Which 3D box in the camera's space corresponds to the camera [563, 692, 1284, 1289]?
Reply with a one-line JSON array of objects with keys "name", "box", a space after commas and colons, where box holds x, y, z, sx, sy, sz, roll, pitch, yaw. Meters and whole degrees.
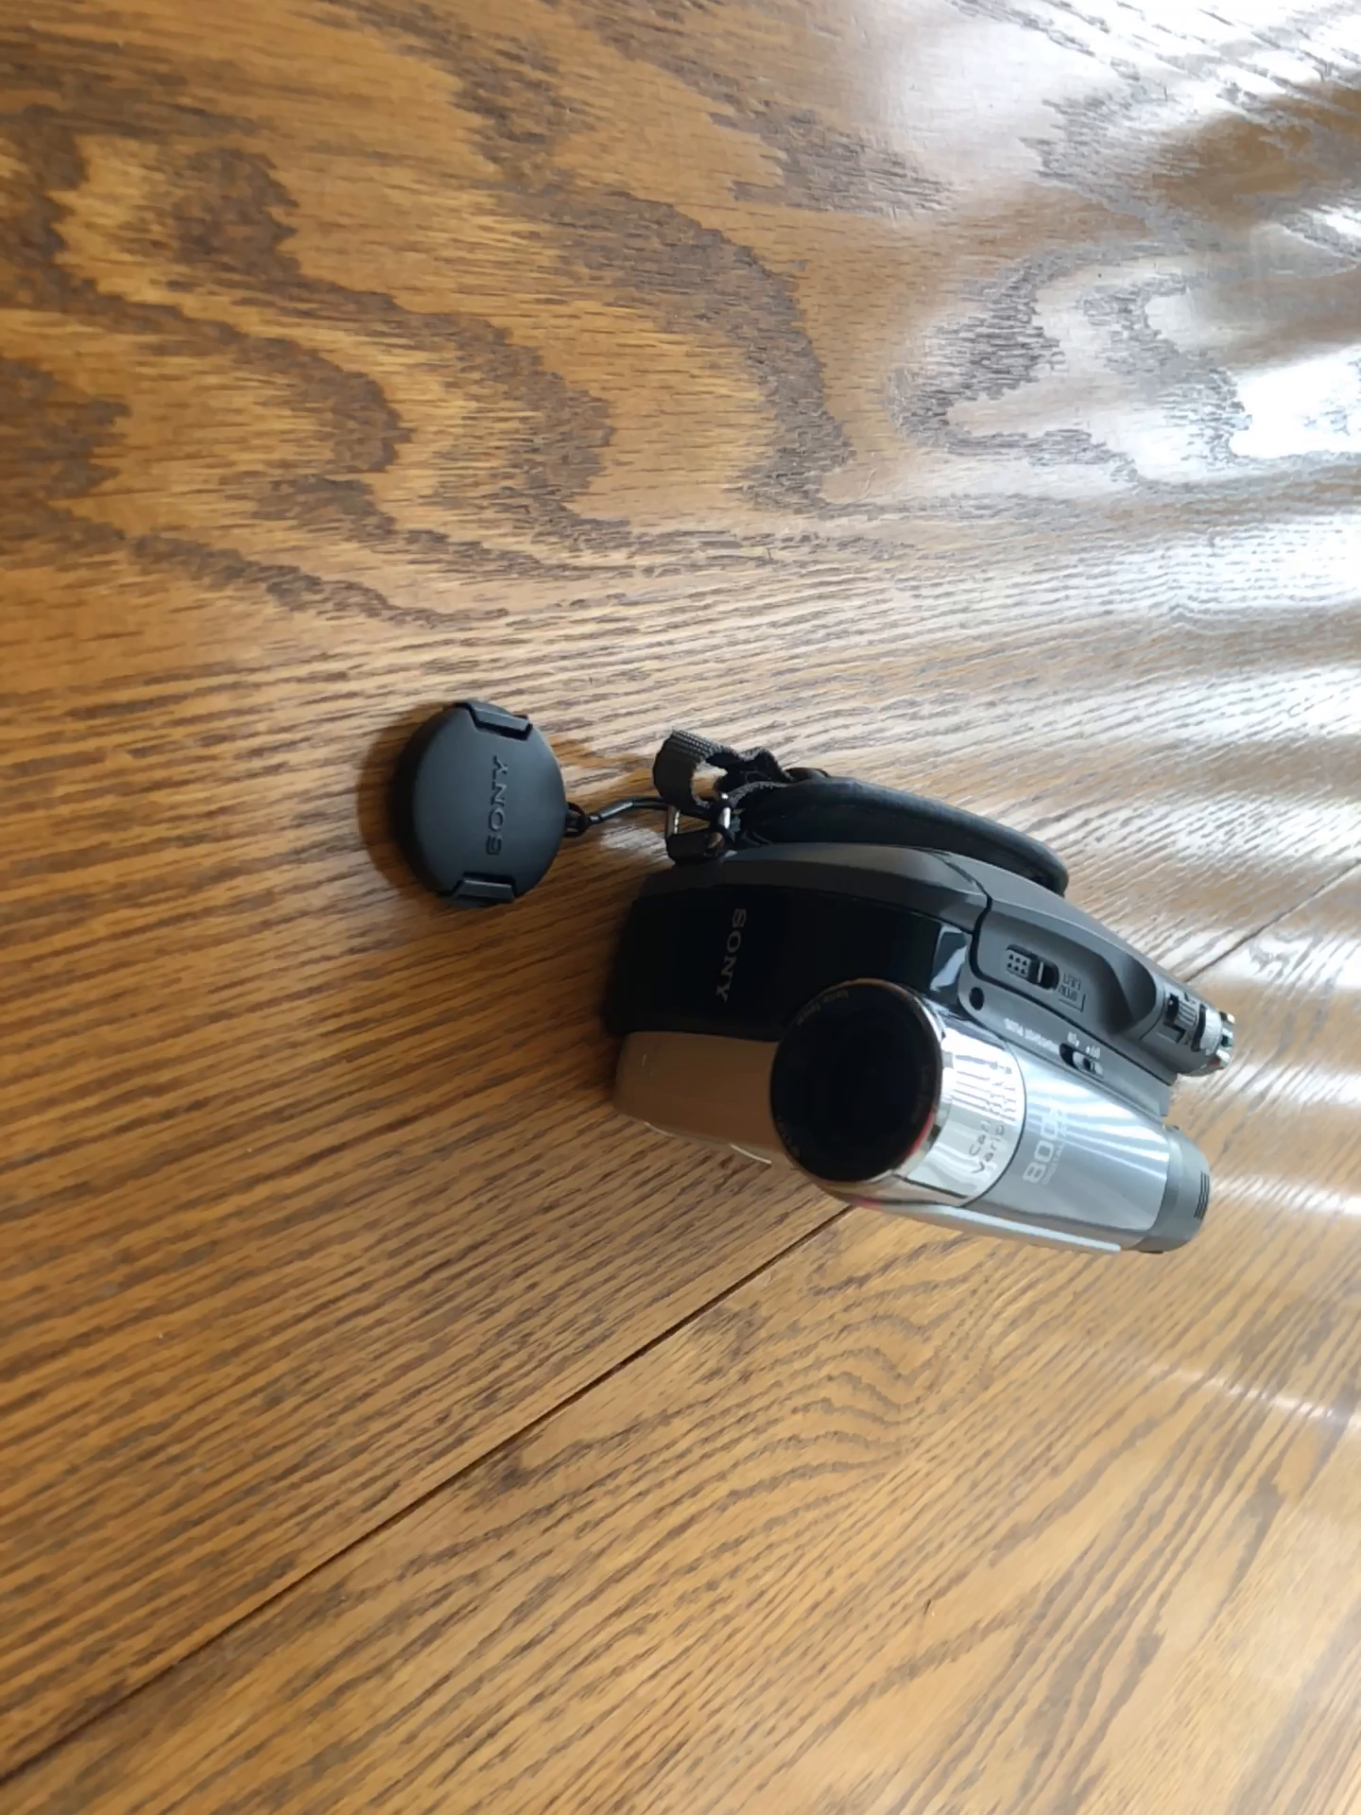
[{"name": "camera", "box": [0.051, 0.019, 0.282, 0.112, 0.072, 0.080, 22, 77, -46]}]
